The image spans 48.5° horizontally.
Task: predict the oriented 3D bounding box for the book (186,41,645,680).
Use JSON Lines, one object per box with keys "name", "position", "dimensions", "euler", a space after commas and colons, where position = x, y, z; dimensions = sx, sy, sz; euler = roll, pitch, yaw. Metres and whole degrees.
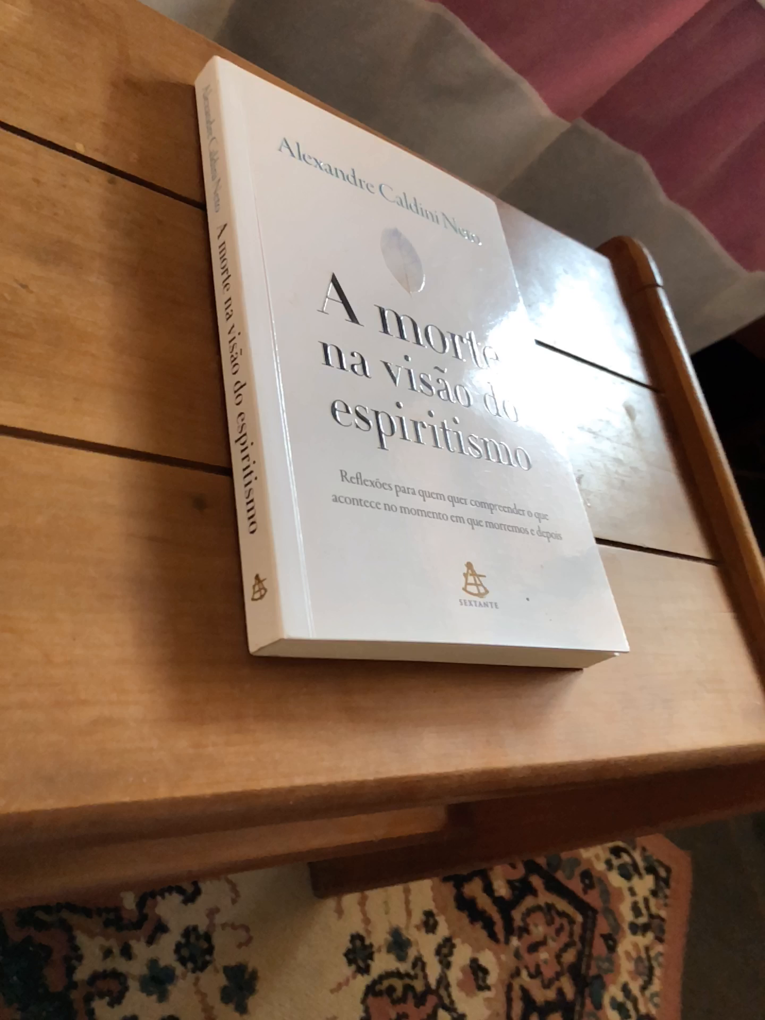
{"name": "book", "position": [0.010, -0.045, 0.275], "dimensions": [0.136, 0.020, 0.197], "euler": [11, 59, -39]}
